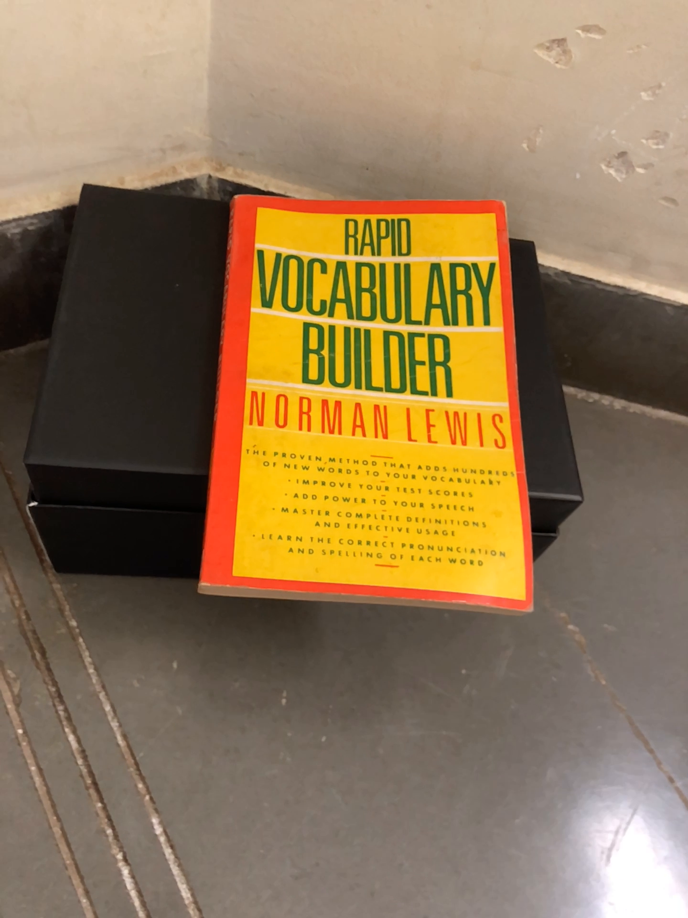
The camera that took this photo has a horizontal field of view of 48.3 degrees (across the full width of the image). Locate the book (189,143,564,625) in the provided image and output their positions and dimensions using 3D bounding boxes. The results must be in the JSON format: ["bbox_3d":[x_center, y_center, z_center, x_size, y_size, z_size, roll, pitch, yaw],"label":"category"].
[{"bbox_3d":[0.014,-0.046,0.352,0.140,0.030,0.230,6,59,-8],"label":"book"}]
